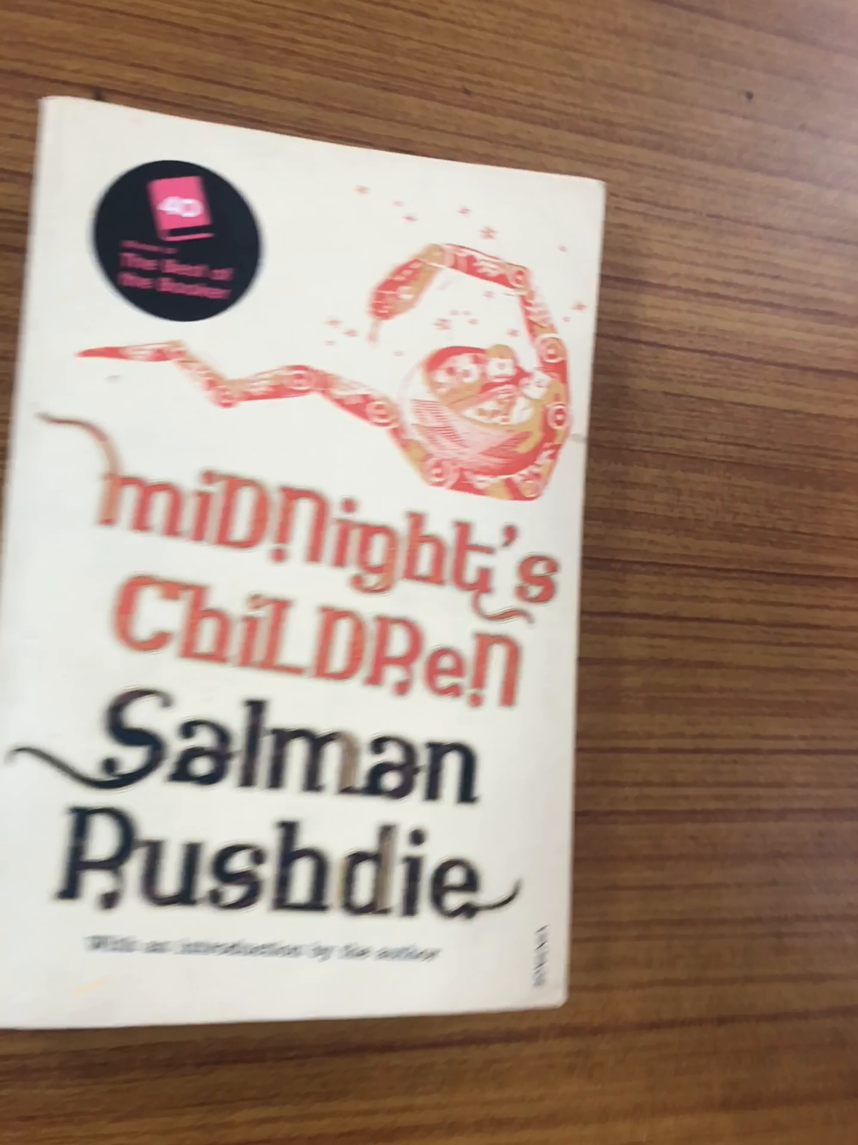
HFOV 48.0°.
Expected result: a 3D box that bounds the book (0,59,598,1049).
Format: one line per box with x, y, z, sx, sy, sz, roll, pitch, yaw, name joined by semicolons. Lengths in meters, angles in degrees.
-0.036;-0.003;0.227;0.140;0.040;0.200;3;85;-12;book
